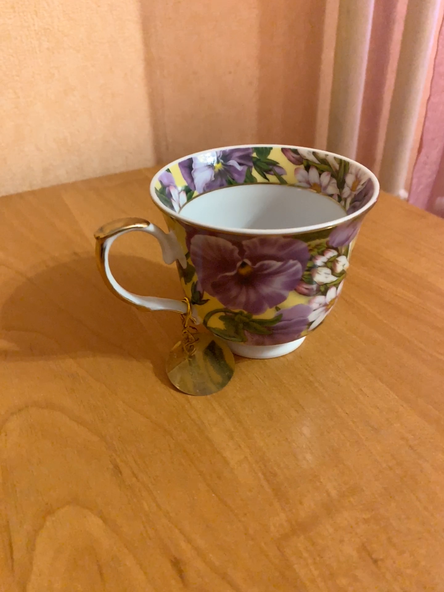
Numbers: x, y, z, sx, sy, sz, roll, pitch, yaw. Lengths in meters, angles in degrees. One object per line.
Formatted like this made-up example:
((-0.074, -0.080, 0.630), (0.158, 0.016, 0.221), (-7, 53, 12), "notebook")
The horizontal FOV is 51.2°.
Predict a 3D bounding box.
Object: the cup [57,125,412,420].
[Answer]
((0.002, -0.019, 0.191), (0.109, 0.069, 0.077), (-16, 36, -20), "cup")
